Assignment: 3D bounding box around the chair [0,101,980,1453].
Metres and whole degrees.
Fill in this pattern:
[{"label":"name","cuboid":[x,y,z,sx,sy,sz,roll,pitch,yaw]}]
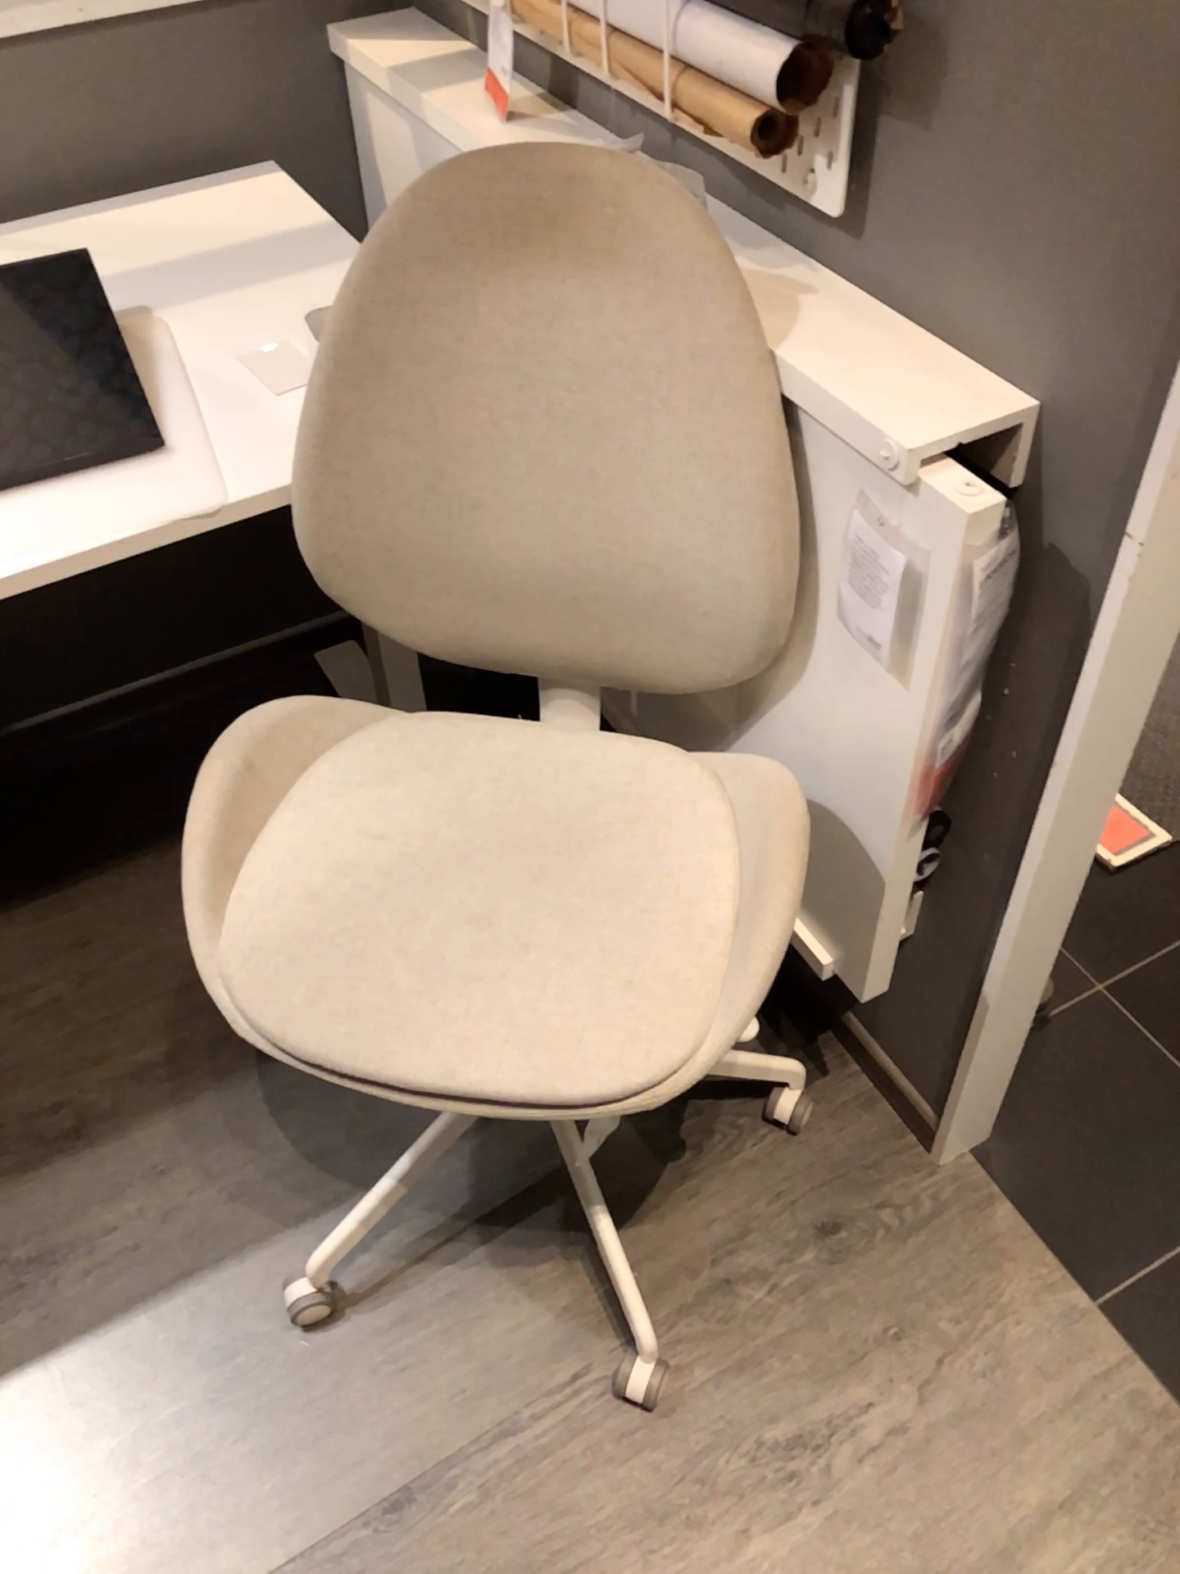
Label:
[{"label":"chair","cuboid":[-0.088,0.018,1.201,0.680,0.964,0.684,9,47,11]}]
